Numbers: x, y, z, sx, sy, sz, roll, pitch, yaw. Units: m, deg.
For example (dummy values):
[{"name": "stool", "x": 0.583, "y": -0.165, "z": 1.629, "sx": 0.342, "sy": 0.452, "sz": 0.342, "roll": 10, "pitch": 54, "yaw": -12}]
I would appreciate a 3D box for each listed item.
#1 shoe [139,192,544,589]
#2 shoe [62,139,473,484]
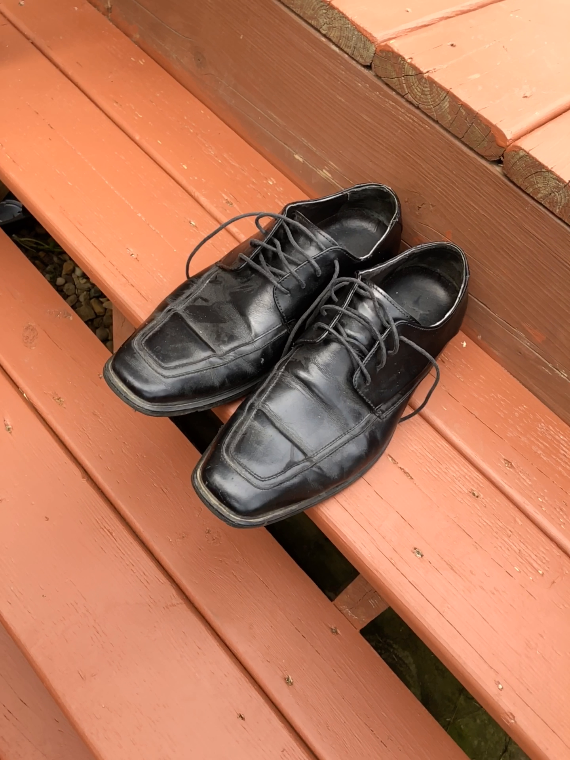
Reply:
[{"name": "shoe", "x": 0.054, "y": -0.010, "z": 0.512, "sx": 0.130, "sy": 0.110, "sz": 0.331, "roll": 42, "pitch": 57, "yaw": 14}, {"name": "shoe", "x": -0.004, "y": -0.075, "z": 0.543, "sx": 0.331, "sy": 0.110, "sz": 0.130, "roll": -35, "pitch": 71, "yaw": -31}]
